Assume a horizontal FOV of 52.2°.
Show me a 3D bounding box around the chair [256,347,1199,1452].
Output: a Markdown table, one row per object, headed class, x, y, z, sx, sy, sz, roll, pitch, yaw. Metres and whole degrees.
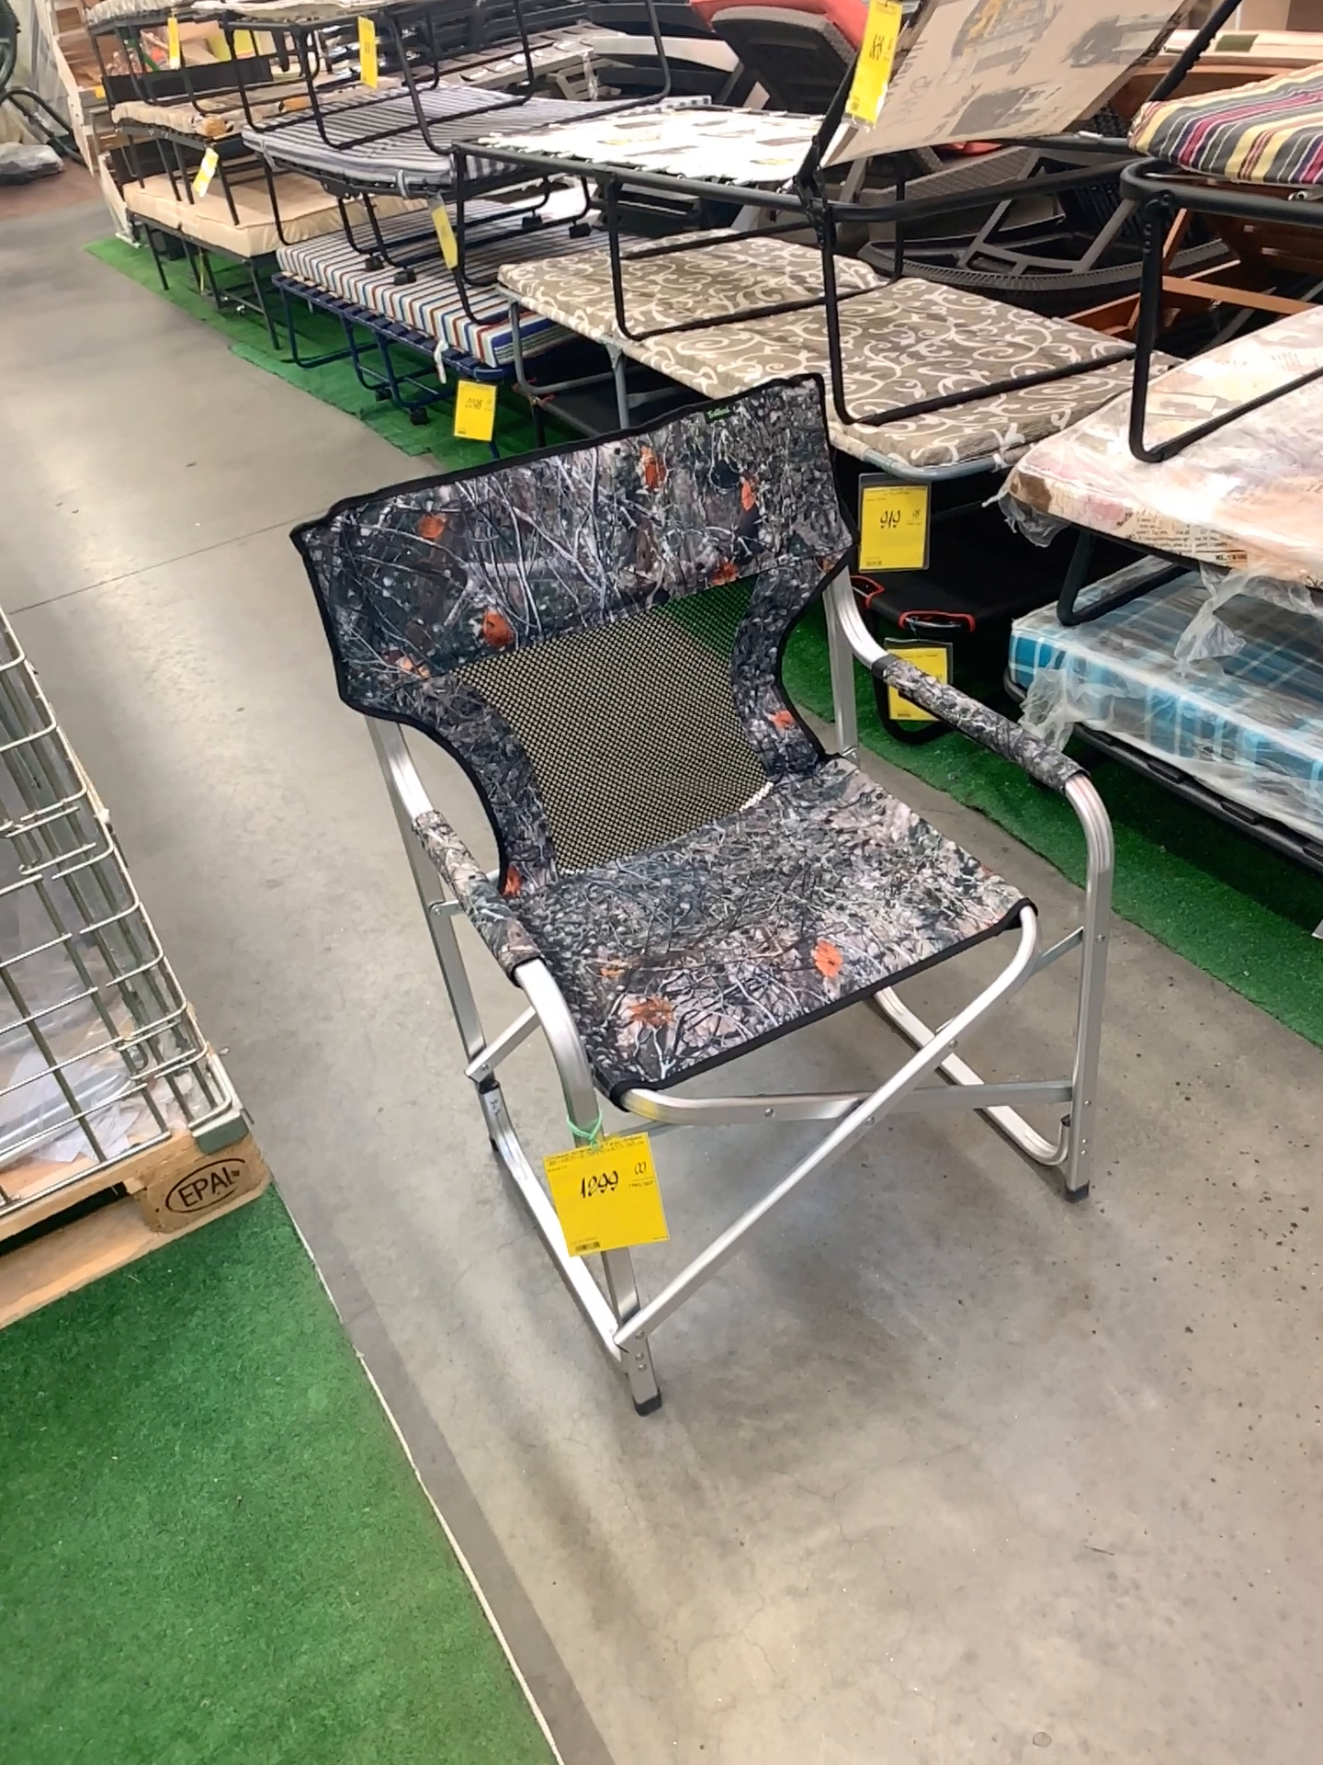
| class | x | y | z | sx | sy | sz | roll | pitch | yaw |
| --- | --- | --- | --- | --- | --- | --- | --- | --- | --- |
| chair | 0.065 | -0.013 | 1.465 | 0.650 | 0.836 | 0.613 | -21 | 38 | -15 |
